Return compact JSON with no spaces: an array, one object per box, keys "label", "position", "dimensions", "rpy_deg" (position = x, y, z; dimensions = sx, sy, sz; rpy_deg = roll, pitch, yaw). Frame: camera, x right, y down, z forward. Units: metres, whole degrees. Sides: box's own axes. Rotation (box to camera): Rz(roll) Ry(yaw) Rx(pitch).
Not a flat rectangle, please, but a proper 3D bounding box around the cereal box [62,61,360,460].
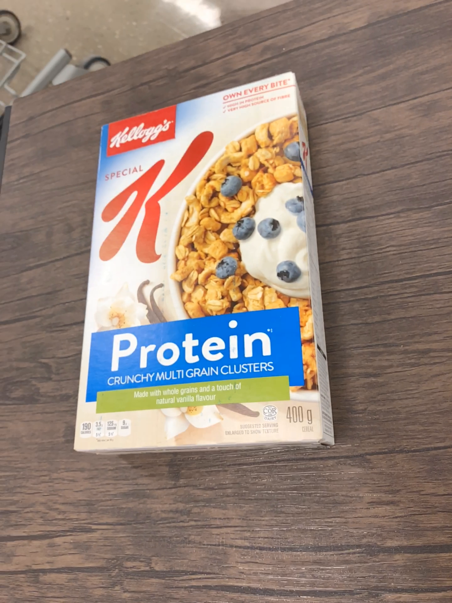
[{"label":"cereal box","position":[-0.013,-0.027,0.361],"dimensions":[0.180,0.050,0.260],"rpy_deg":[-8,68,19]}]
